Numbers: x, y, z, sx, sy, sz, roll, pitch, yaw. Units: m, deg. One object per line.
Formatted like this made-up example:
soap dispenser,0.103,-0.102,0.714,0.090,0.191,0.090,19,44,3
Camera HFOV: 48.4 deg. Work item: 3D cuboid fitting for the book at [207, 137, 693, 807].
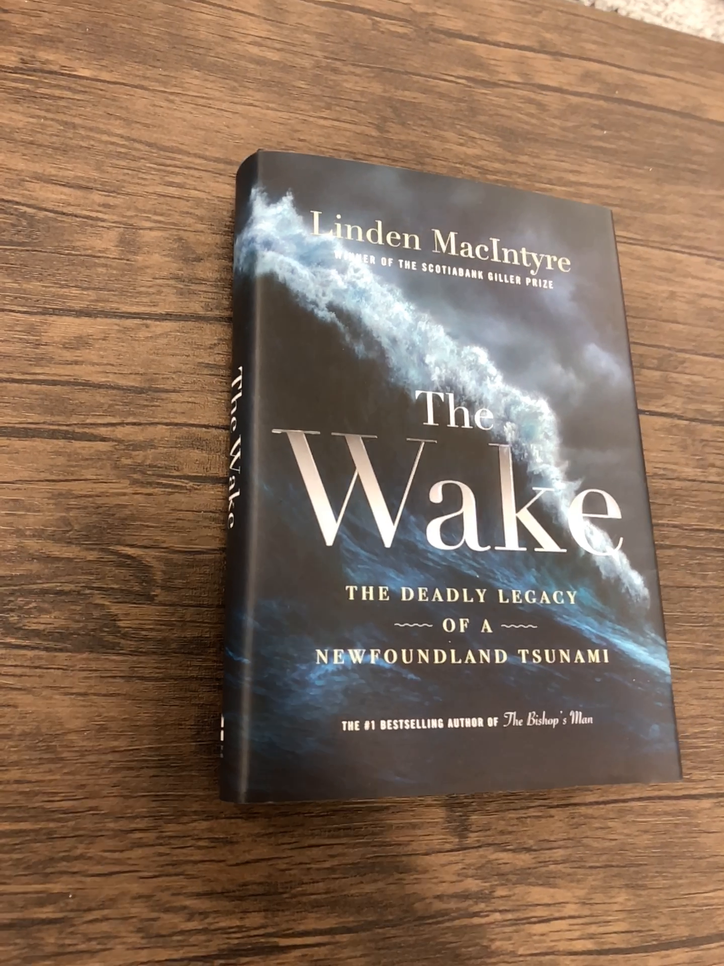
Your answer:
book,0.029,-0.005,0.309,0.160,0.050,0.230,4,73,-16
